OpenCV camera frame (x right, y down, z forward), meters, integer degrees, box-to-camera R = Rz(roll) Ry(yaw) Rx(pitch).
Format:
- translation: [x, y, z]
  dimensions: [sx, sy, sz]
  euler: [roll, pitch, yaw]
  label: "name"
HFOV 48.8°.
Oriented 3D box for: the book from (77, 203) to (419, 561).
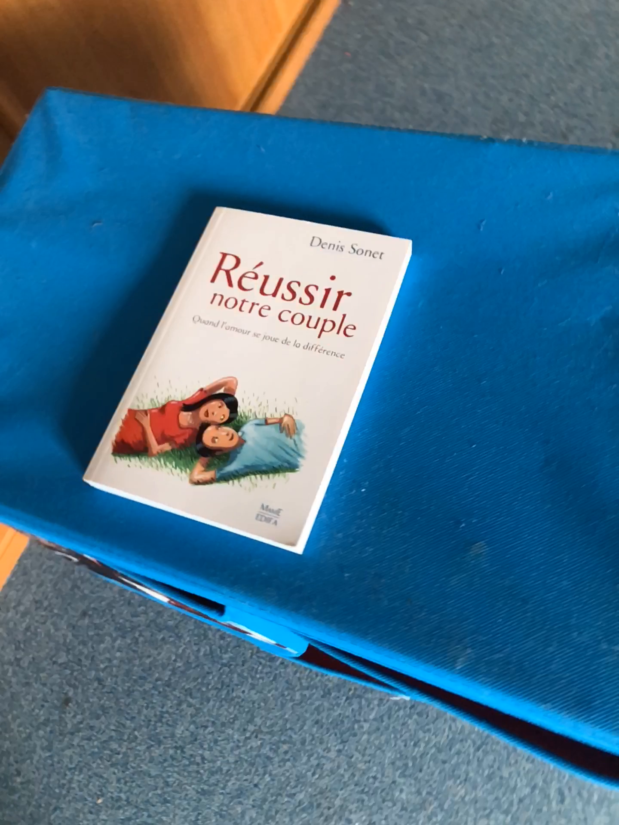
- translation: [-0.031, -0.028, 0.384]
  dimensions: [0.134, 0.016, 0.186]
  euler: [15, 72, 18]
  label: "book"
